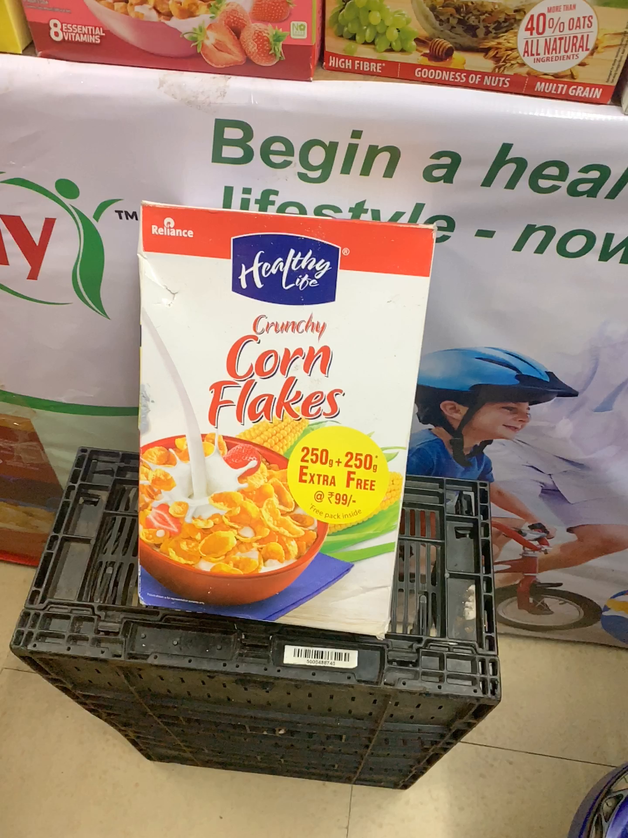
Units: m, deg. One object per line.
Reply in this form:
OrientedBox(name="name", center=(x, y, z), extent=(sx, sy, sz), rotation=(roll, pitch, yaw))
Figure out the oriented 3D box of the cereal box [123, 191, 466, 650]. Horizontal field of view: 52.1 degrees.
OrientedBox(name="cereal box", center=(-0.017, -0.003, 0.463), extent=(0.200, 0.280, 0.100), rotation=(7, 12, 6))
